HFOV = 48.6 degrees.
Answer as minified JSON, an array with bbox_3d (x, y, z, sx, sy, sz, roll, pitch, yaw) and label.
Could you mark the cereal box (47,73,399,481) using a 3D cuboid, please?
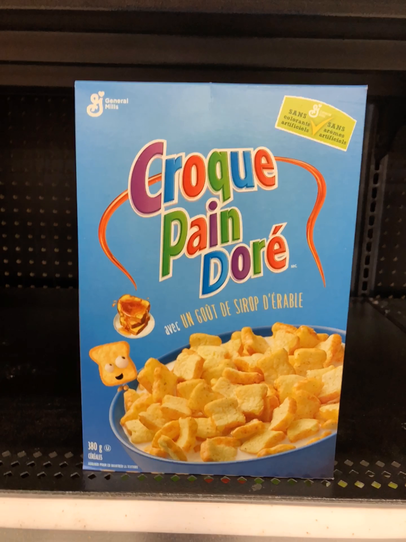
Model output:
[{"bbox_3d":[0.009,0.009,0.326,0.210,0.269,0.060,2,12,2],"label":"cereal box"}]
